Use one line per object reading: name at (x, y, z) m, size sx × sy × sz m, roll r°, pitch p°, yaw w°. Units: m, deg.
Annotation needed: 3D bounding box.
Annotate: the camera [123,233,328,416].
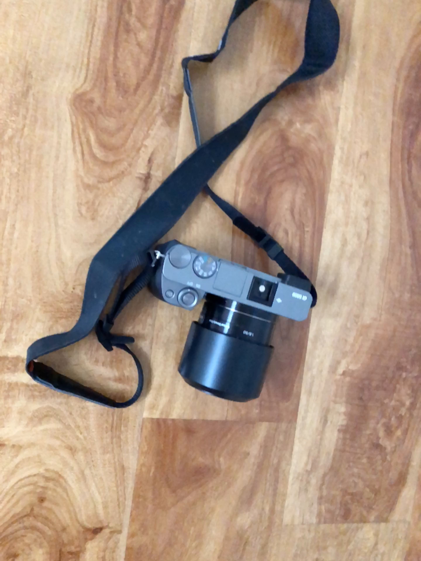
camera at (0.009, 0.035, 0.384) m, size 0.130 × 0.070 × 0.110 m, roll 16°, pitch 88°, yaw -15°
